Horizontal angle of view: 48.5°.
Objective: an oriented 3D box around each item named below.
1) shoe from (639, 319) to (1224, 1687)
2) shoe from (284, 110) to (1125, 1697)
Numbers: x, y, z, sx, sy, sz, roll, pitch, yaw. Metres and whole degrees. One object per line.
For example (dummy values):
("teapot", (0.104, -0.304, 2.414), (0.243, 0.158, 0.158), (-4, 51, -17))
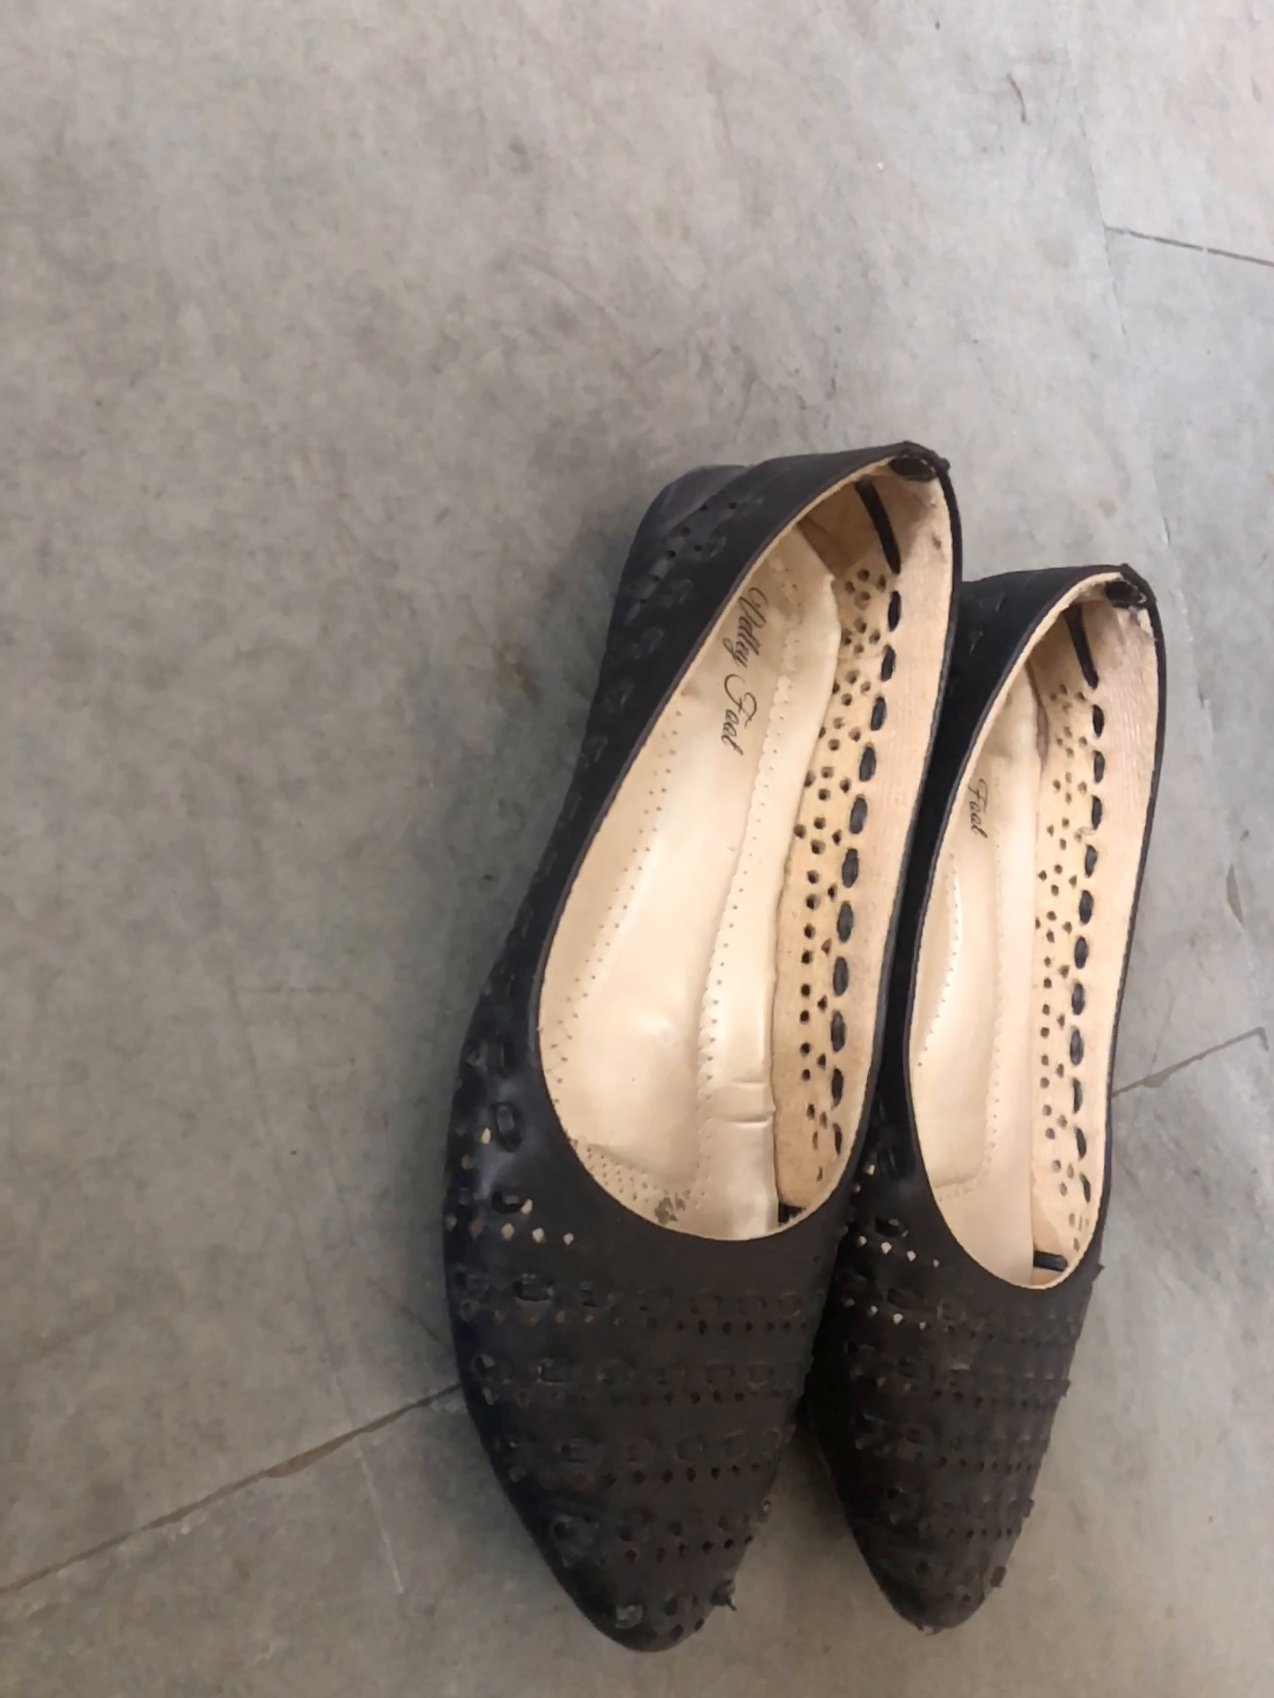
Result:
("shoe", (0.079, 0.031, 0.341), (0.100, 0.070, 0.280), (19, 71, -35))
("shoe", (0.022, 0.014, 0.281), (0.100, 0.070, 0.270), (19, 76, -35))
